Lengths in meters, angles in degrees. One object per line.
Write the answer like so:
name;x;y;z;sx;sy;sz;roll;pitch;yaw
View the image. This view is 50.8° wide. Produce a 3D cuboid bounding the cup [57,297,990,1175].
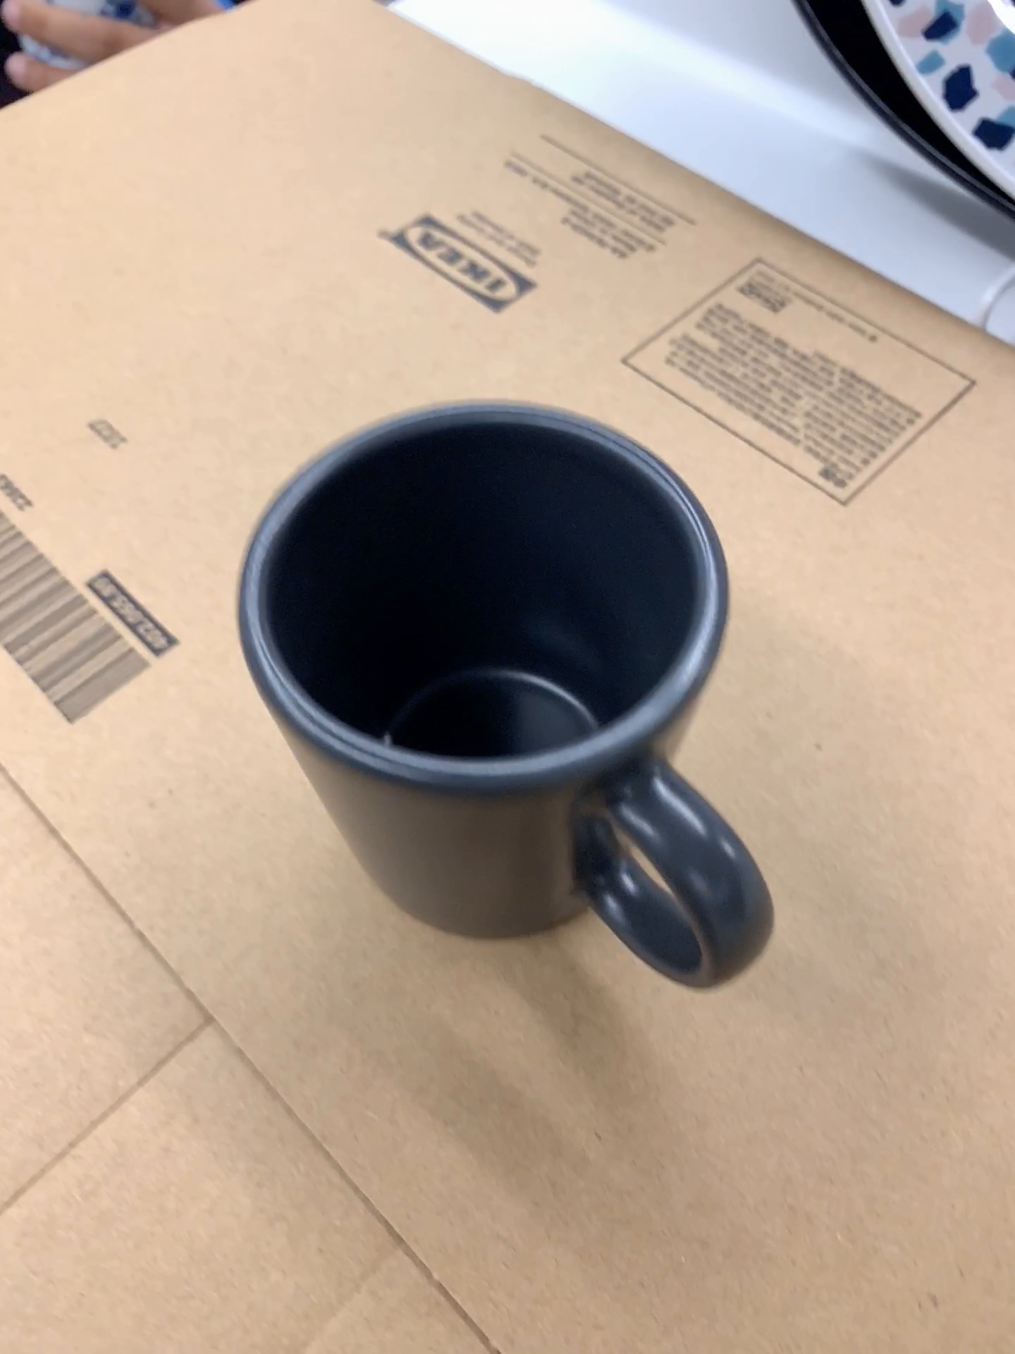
cup;0.000;0.007;0.148;0.090;0.060;0.060;38;64;21
